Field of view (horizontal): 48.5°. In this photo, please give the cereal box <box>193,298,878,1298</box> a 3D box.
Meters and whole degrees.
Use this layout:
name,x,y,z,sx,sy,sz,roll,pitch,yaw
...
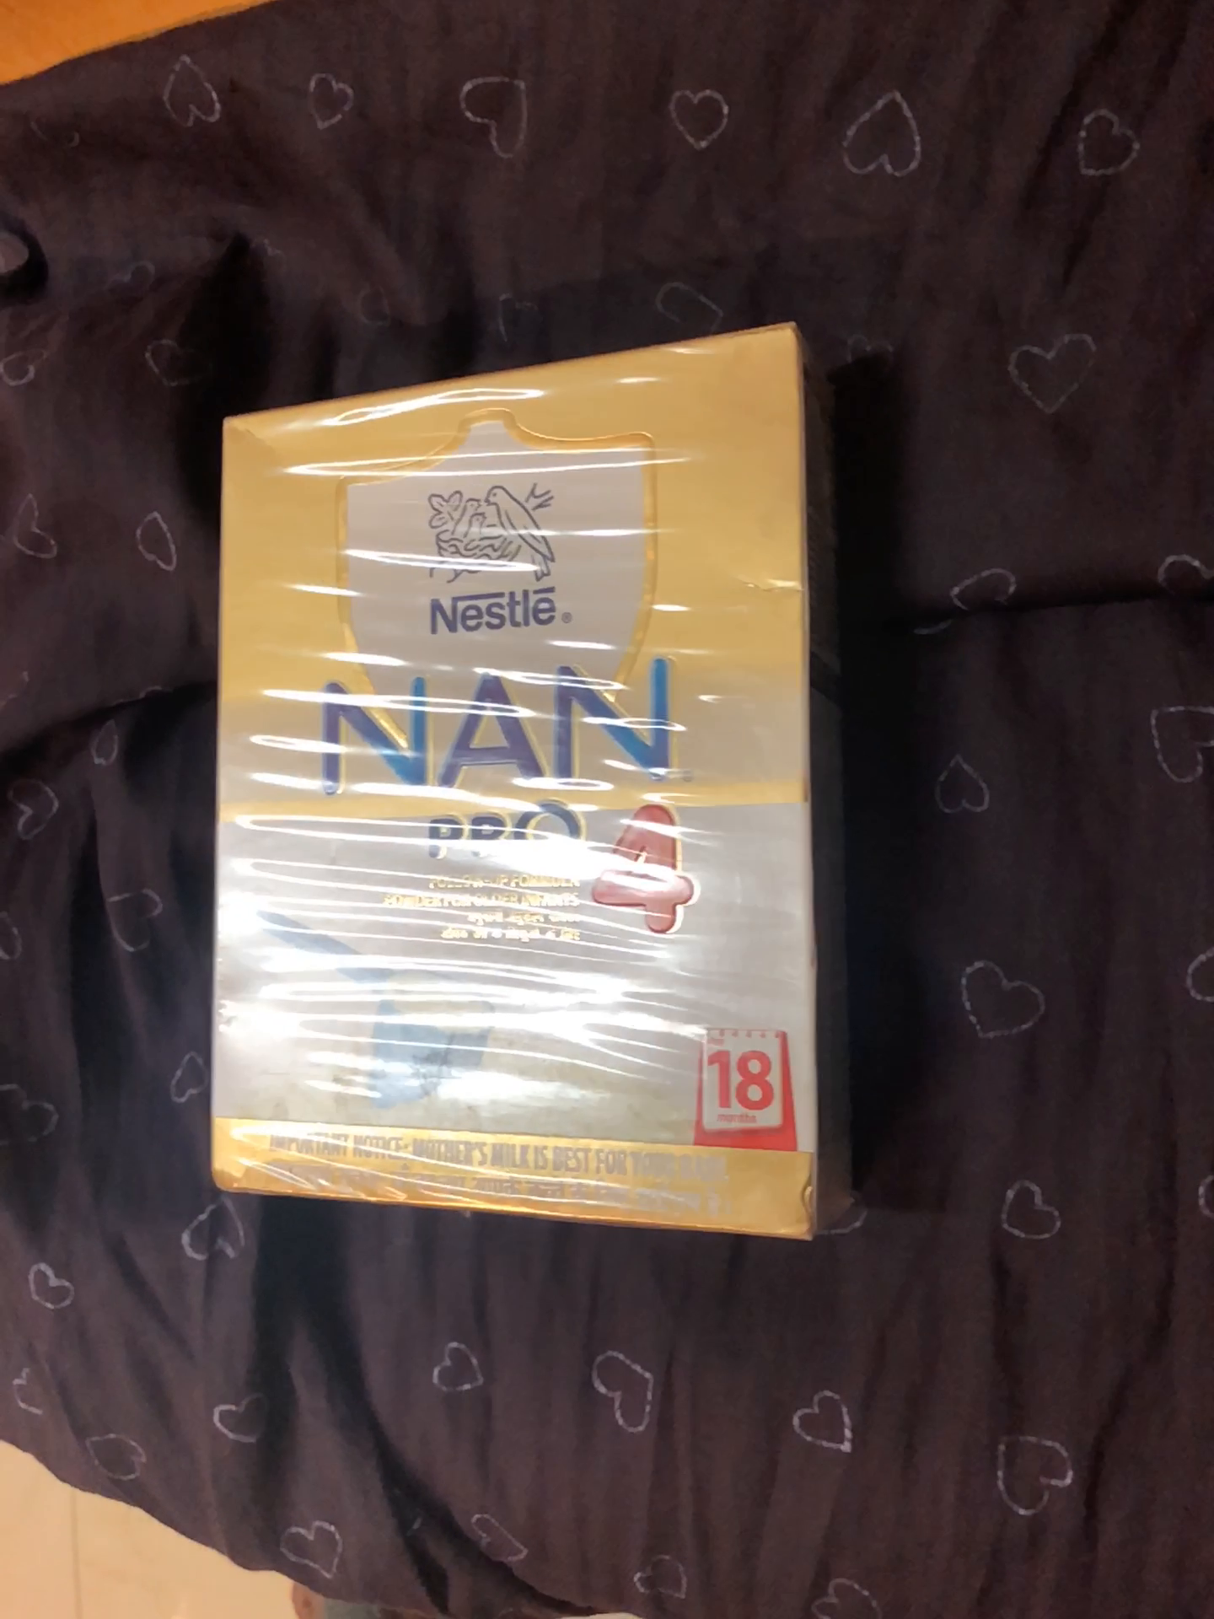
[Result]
name,x,y,z,sx,sy,sz,roll,pitch,yaw
cereal box,-0.020,-0.001,0.336,0.160,0.050,0.210,-2,85,22
